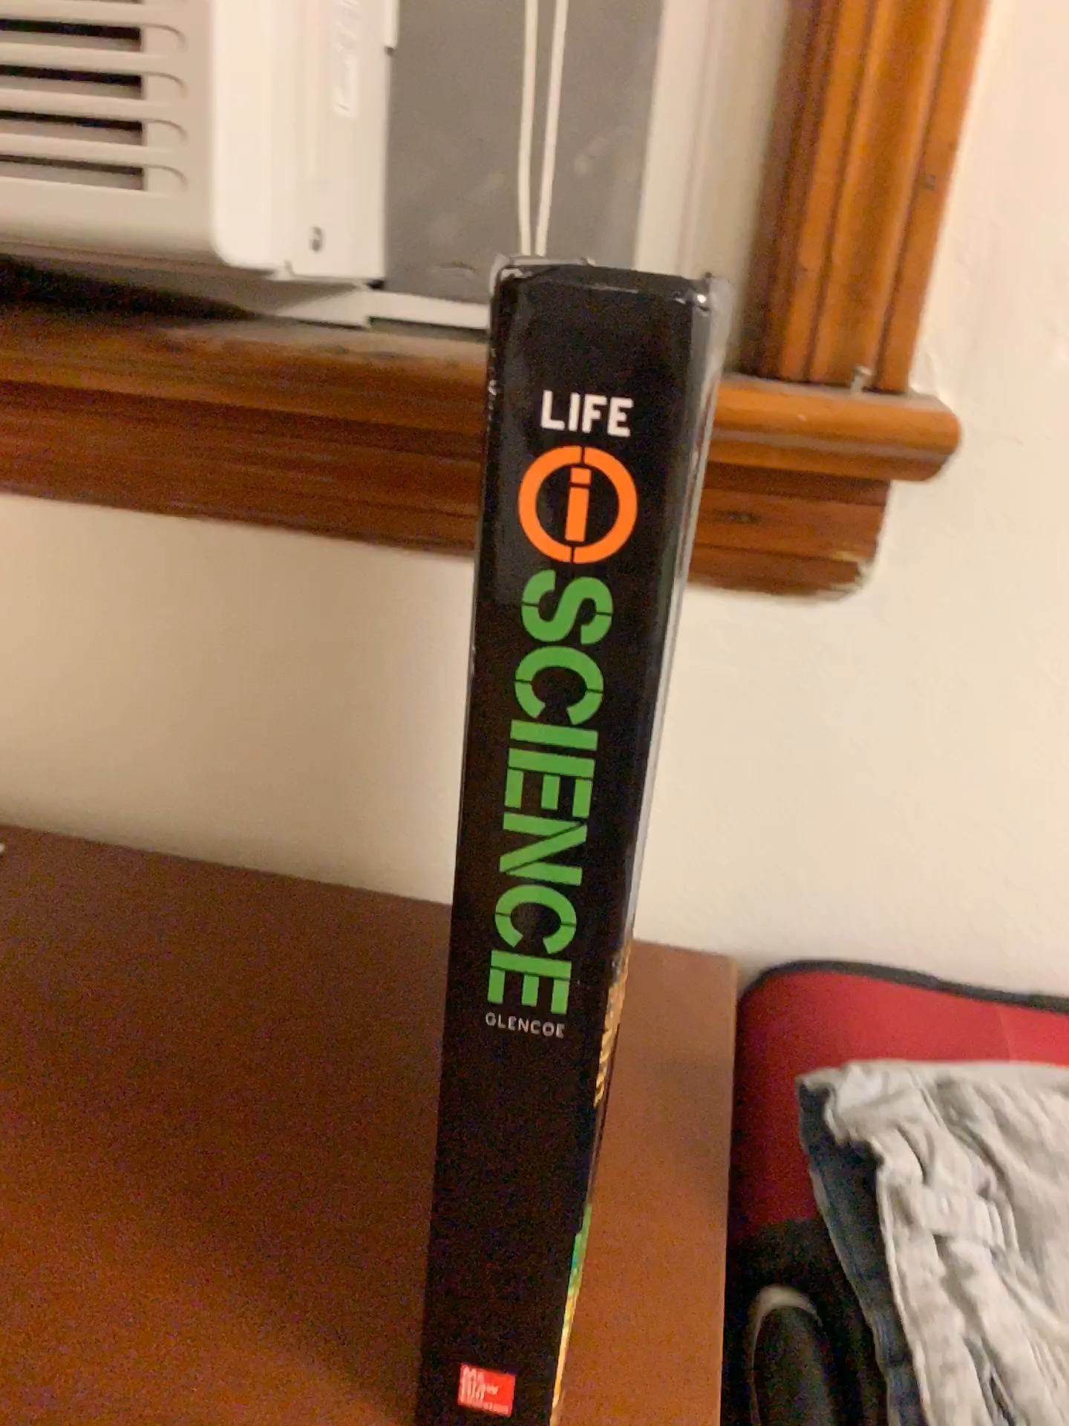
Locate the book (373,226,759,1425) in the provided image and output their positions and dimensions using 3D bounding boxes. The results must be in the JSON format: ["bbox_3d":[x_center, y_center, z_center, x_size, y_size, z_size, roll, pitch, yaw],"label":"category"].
[{"bbox_3d":[0.012,0.016,0.335,0.051,0.286,0.228,8,22,5],"label":"book"}]
